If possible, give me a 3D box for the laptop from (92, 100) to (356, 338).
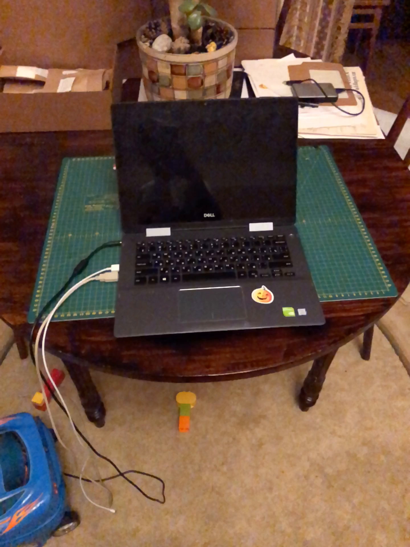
[{"bbox_3d":[0.013,-0.101,0.730,0.320,0.192,0.338,-3,48,-3],"label":"laptop"}]
